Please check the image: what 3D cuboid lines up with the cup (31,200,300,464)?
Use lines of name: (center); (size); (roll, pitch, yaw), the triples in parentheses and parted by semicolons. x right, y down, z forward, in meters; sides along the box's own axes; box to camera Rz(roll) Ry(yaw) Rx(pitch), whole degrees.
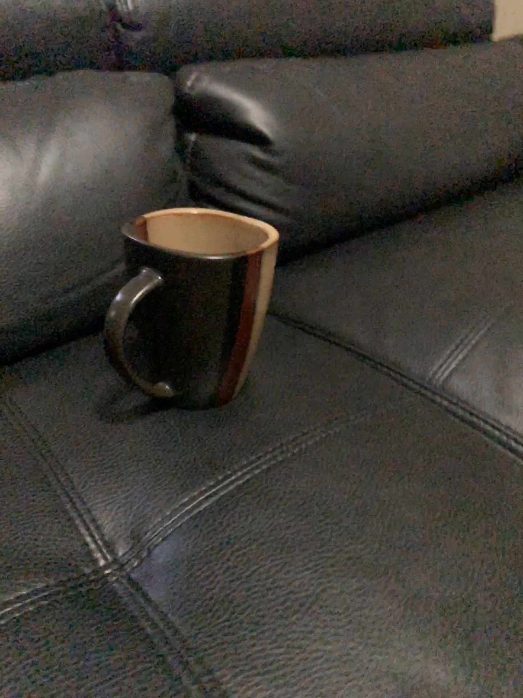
cup: (-0.059, -0.023, 0.366); (0.098, 0.109, 0.138); (24, 34, 27)
